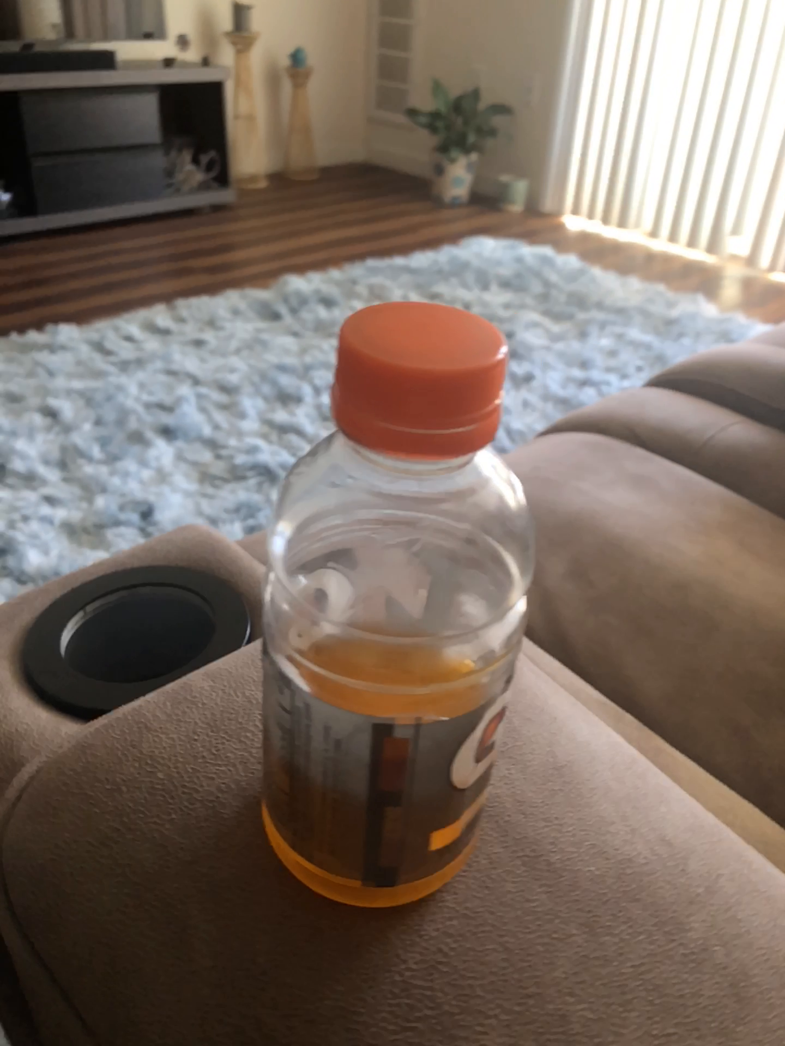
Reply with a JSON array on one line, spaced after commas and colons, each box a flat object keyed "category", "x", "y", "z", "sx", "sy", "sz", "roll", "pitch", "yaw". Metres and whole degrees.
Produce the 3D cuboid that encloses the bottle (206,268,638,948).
[{"category": "bottle", "x": -0.002, "y": 0.022, "z": 0.220, "sx": 0.070, "sy": 0.149, "sz": 0.070, "roll": 2, "pitch": 32, "yaw": -1}]
